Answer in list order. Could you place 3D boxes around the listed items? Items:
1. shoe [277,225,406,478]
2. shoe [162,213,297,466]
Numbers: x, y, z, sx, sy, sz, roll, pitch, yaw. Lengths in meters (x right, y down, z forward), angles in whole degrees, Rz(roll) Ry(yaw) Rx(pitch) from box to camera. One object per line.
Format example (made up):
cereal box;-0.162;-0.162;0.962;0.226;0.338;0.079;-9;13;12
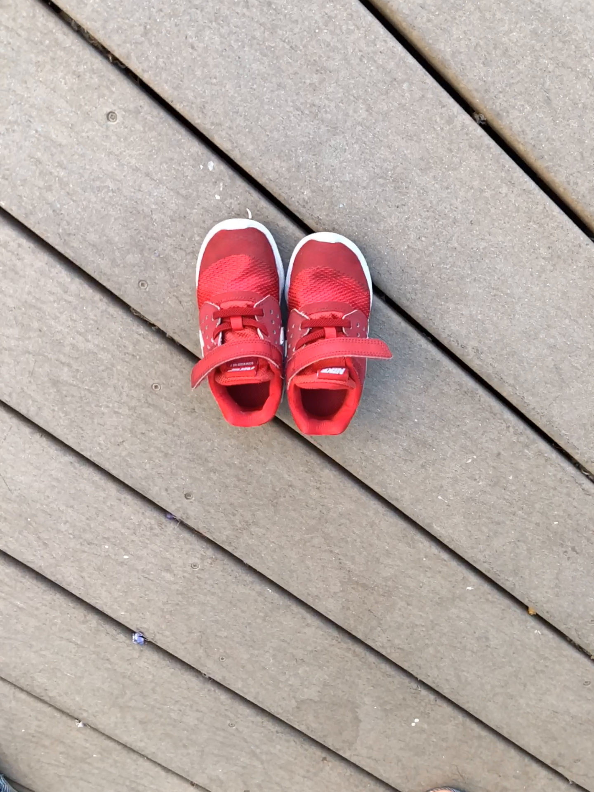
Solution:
shoe;0.027;-0.034;0.491;0.077;0.087;0.168;2;114;-2
shoe;-0.044;-0.044;0.493;0.077;0.087;0.168;-3;114;0
